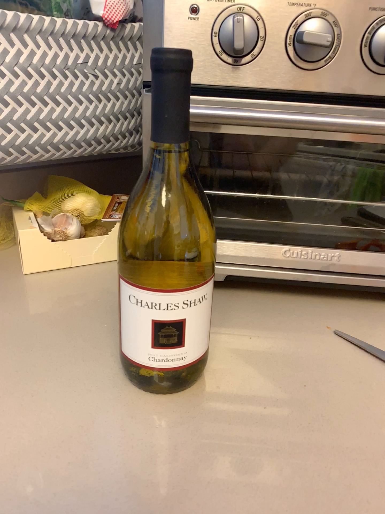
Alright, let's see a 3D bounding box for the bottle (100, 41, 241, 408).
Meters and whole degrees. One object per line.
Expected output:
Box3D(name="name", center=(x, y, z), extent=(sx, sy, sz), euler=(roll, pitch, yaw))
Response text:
Box3D(name="bottle", center=(-0.019, -0.012, 0.312), extent=(0.080, 0.269, 0.070), euler=(3, 24, -1))
